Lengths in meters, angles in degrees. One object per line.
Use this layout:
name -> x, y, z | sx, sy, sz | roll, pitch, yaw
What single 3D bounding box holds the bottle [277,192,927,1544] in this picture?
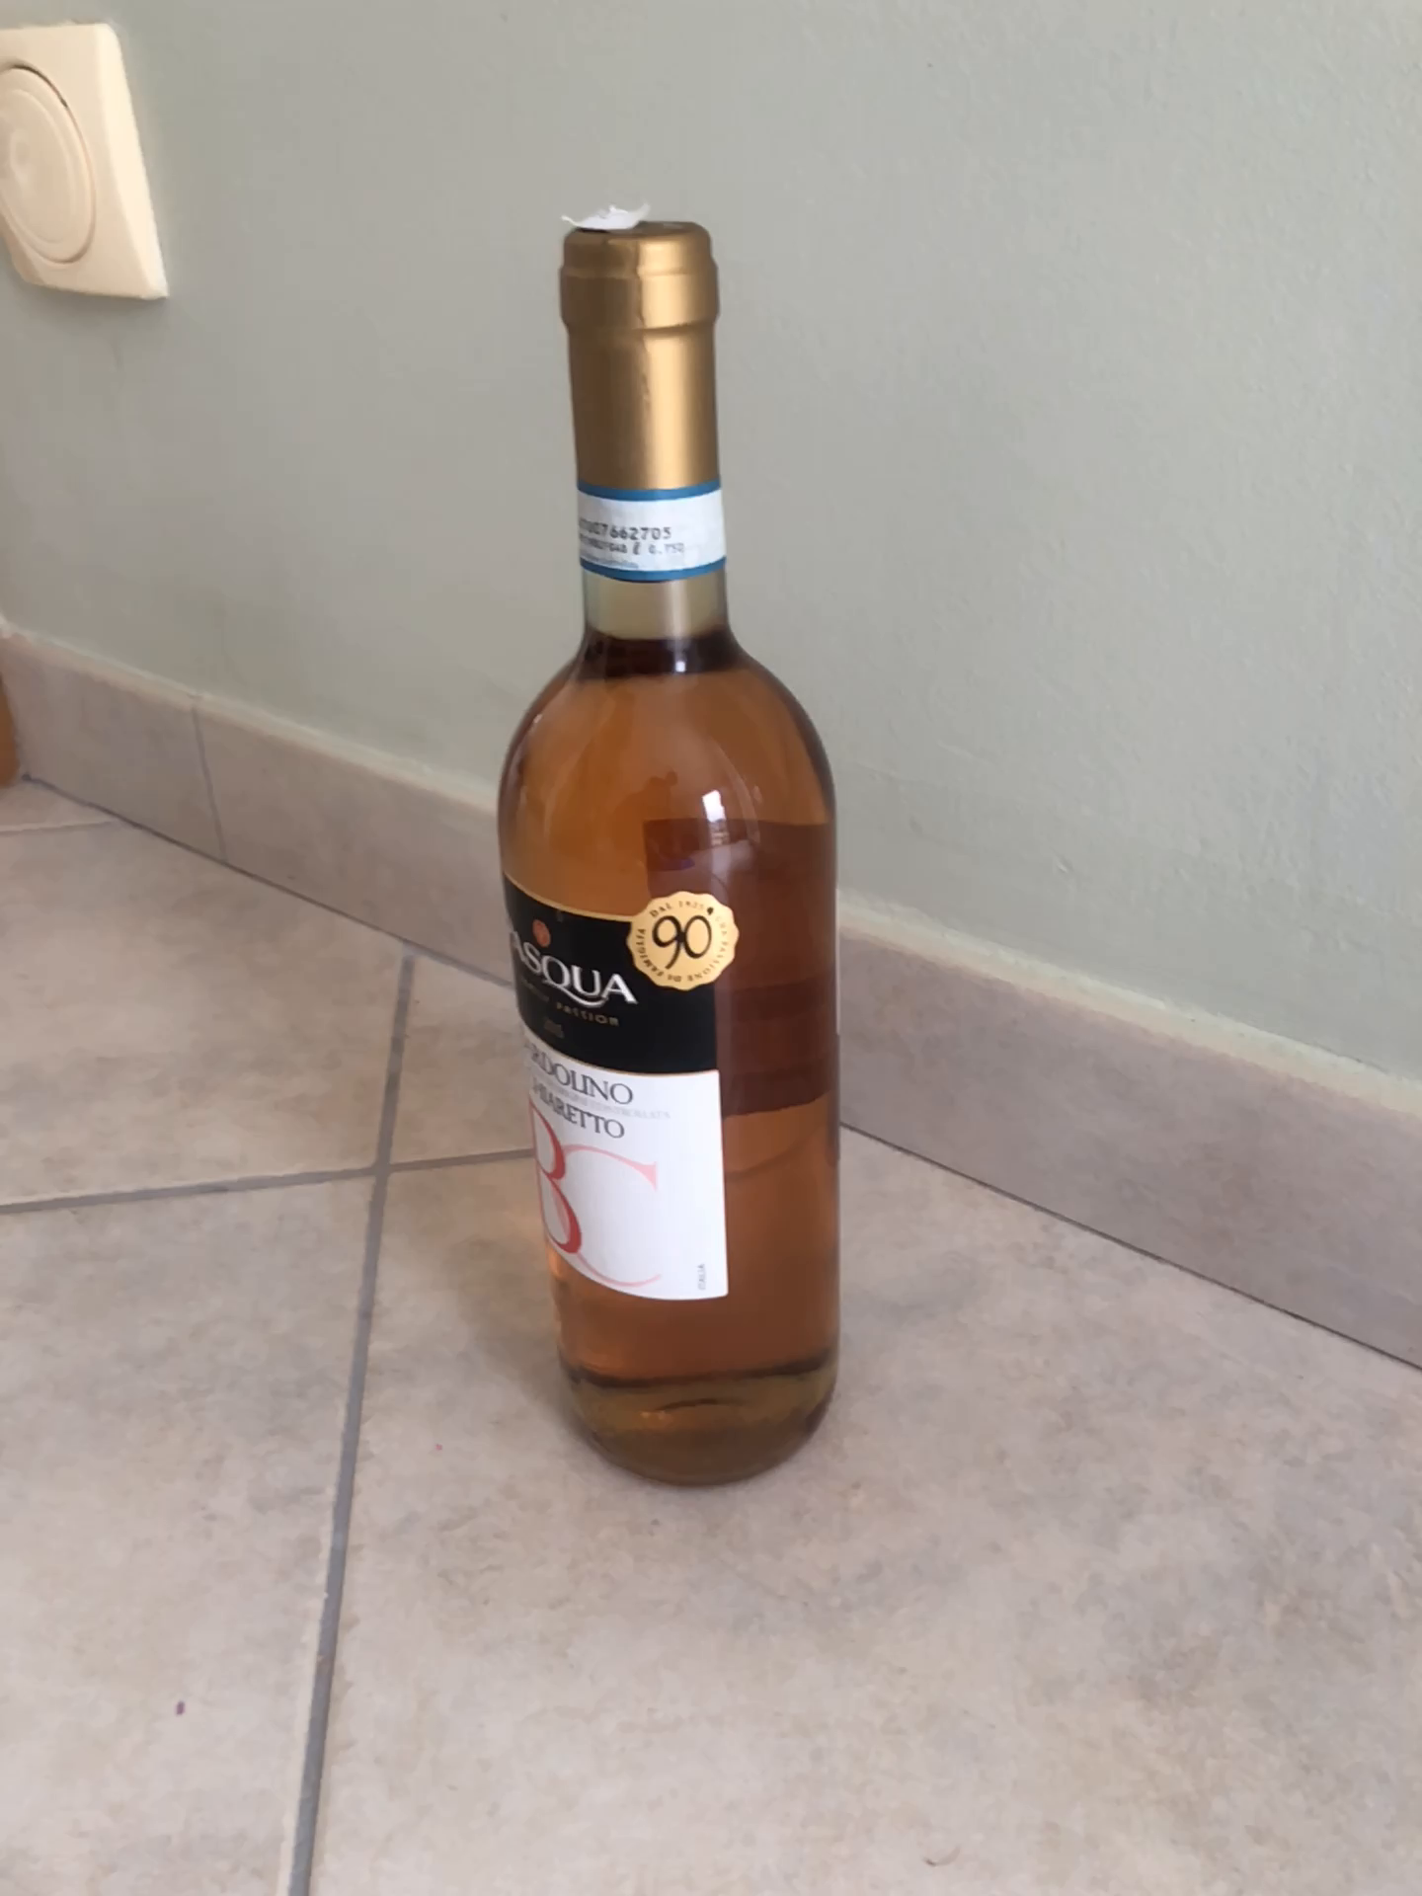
bottle -> -0.013, -0.010, 0.339 | 0.080, 0.268, 0.080 | -2, 30, 1
